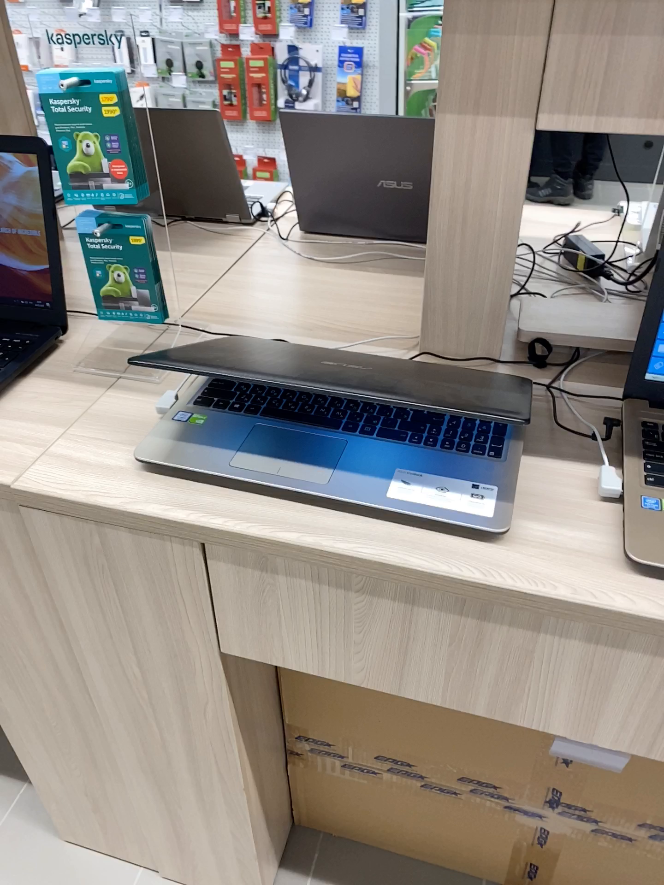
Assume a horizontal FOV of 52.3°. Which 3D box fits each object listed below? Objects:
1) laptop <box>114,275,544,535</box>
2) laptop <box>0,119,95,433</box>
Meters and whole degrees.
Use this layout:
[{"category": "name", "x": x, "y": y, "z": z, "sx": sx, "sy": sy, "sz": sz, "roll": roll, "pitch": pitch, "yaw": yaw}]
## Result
[{"category": "laptop", "x": 0.011, "y": -0.061, "z": 0.715, "sx": 0.382, "sy": 0.094, "sz": 0.241, "roll": 11, "pitch": 39, "yaw": 14}, {"category": "laptop", "x": -0.589, "y": -0.228, "z": 0.828, "sx": 0.421, "sy": 0.235, "sz": 0.319, "roll": 9, "pitch": 38, "yaw": 14}]
